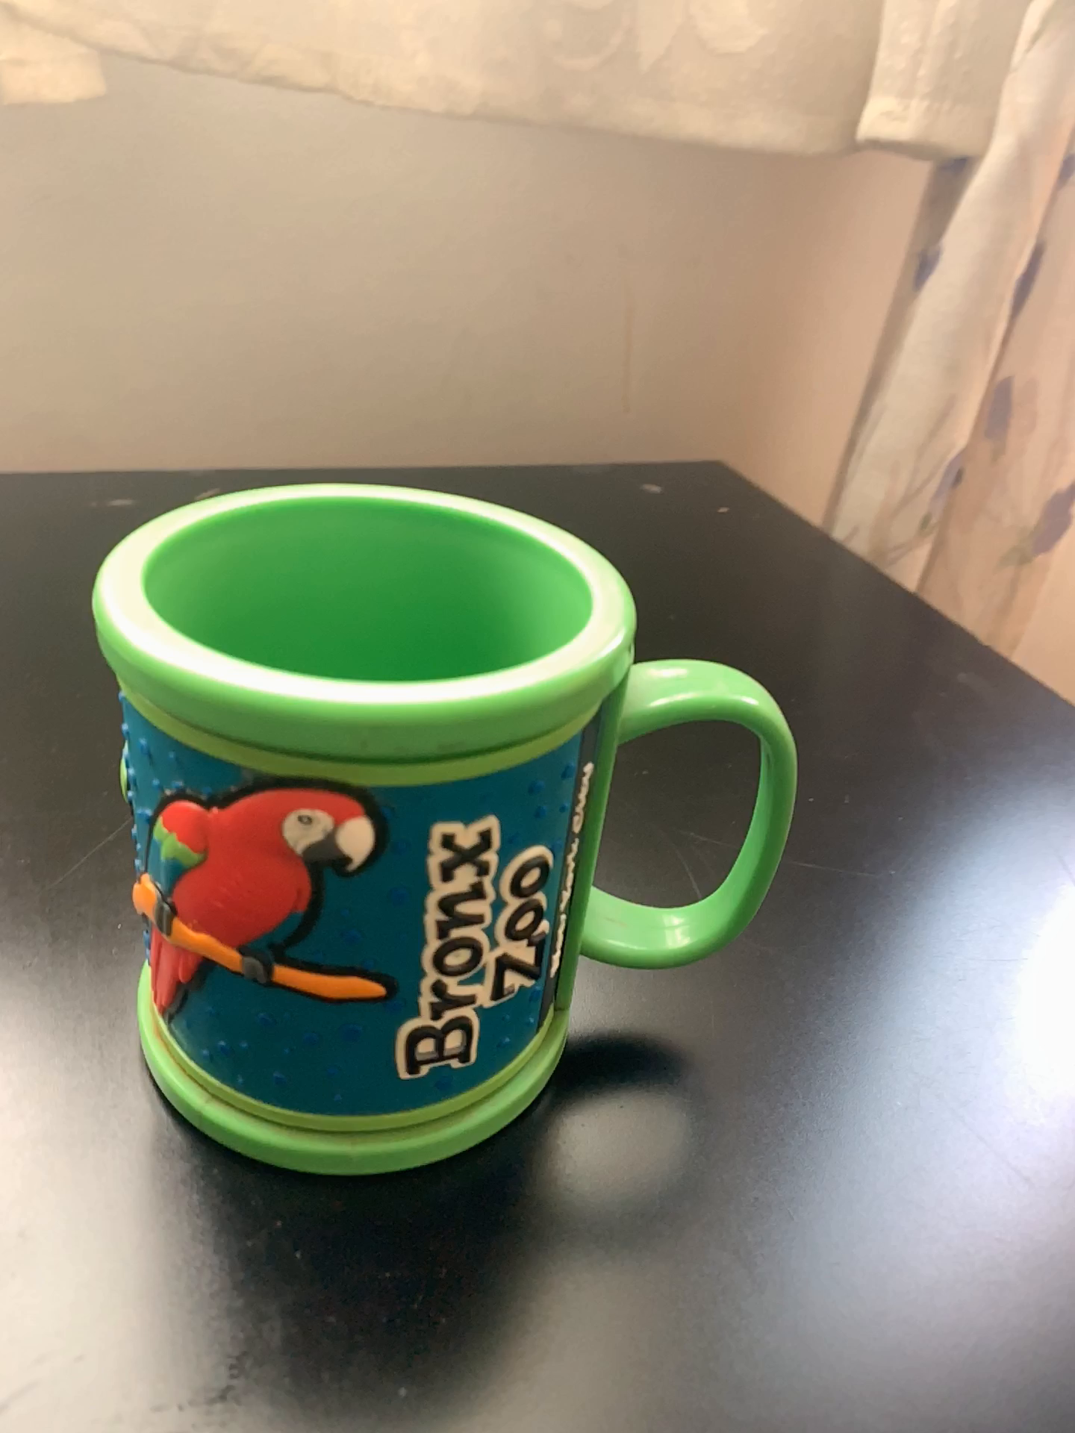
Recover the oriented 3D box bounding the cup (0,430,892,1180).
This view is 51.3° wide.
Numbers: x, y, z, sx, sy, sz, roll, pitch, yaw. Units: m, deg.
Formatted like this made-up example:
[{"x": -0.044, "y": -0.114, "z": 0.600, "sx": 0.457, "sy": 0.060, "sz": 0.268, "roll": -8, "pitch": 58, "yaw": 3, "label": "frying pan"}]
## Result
[{"x": -0.021, "y": 0.015, "z": 0.200, "sx": 0.120, "sy": 0.099, "sz": 0.081, "roll": 3, "pitch": 30, "yaw": -6, "label": "cup"}]
